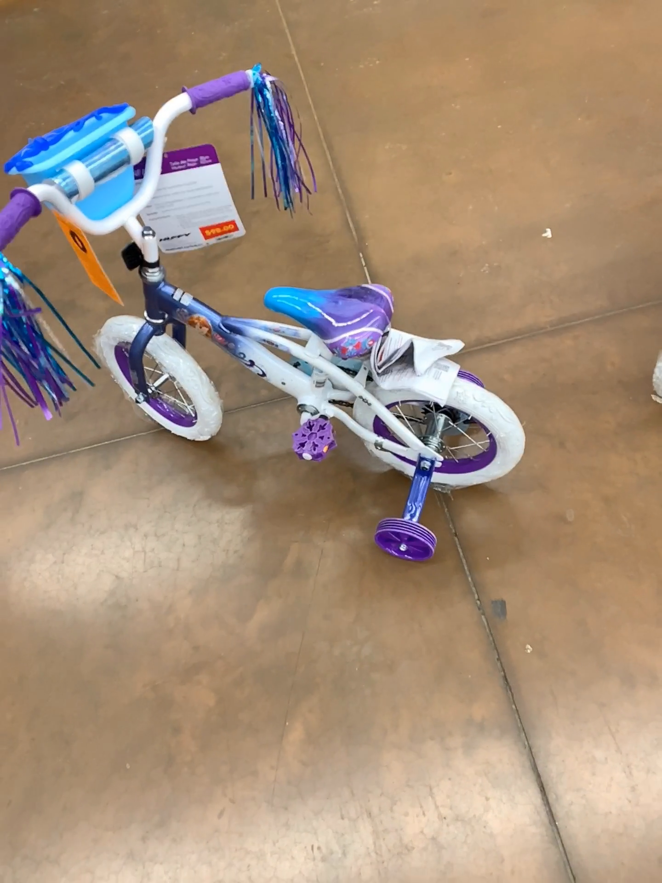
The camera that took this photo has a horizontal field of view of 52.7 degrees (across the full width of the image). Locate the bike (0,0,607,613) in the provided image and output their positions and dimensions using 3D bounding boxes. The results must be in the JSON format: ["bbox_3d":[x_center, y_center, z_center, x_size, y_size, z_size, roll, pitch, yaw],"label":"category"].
[{"bbox_3d":[-0.108,-0.173,1.000,0.805,0.633,0.440,14,60,15],"label":"bike"}]
